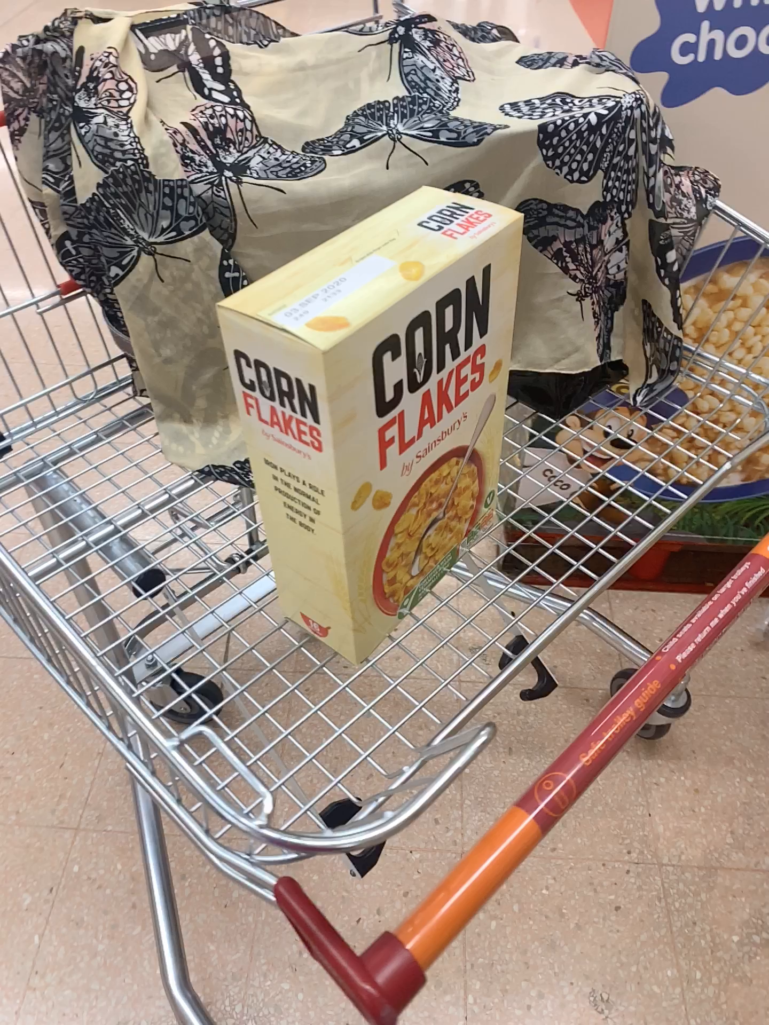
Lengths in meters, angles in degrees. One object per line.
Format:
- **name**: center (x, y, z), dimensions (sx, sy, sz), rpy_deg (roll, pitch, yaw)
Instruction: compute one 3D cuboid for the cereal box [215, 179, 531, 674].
- **cereal box**: center (0.002, -0.052, 0.546), dimensions (0.080, 0.277, 0.191), rpy_deg (28, 51, 26)
